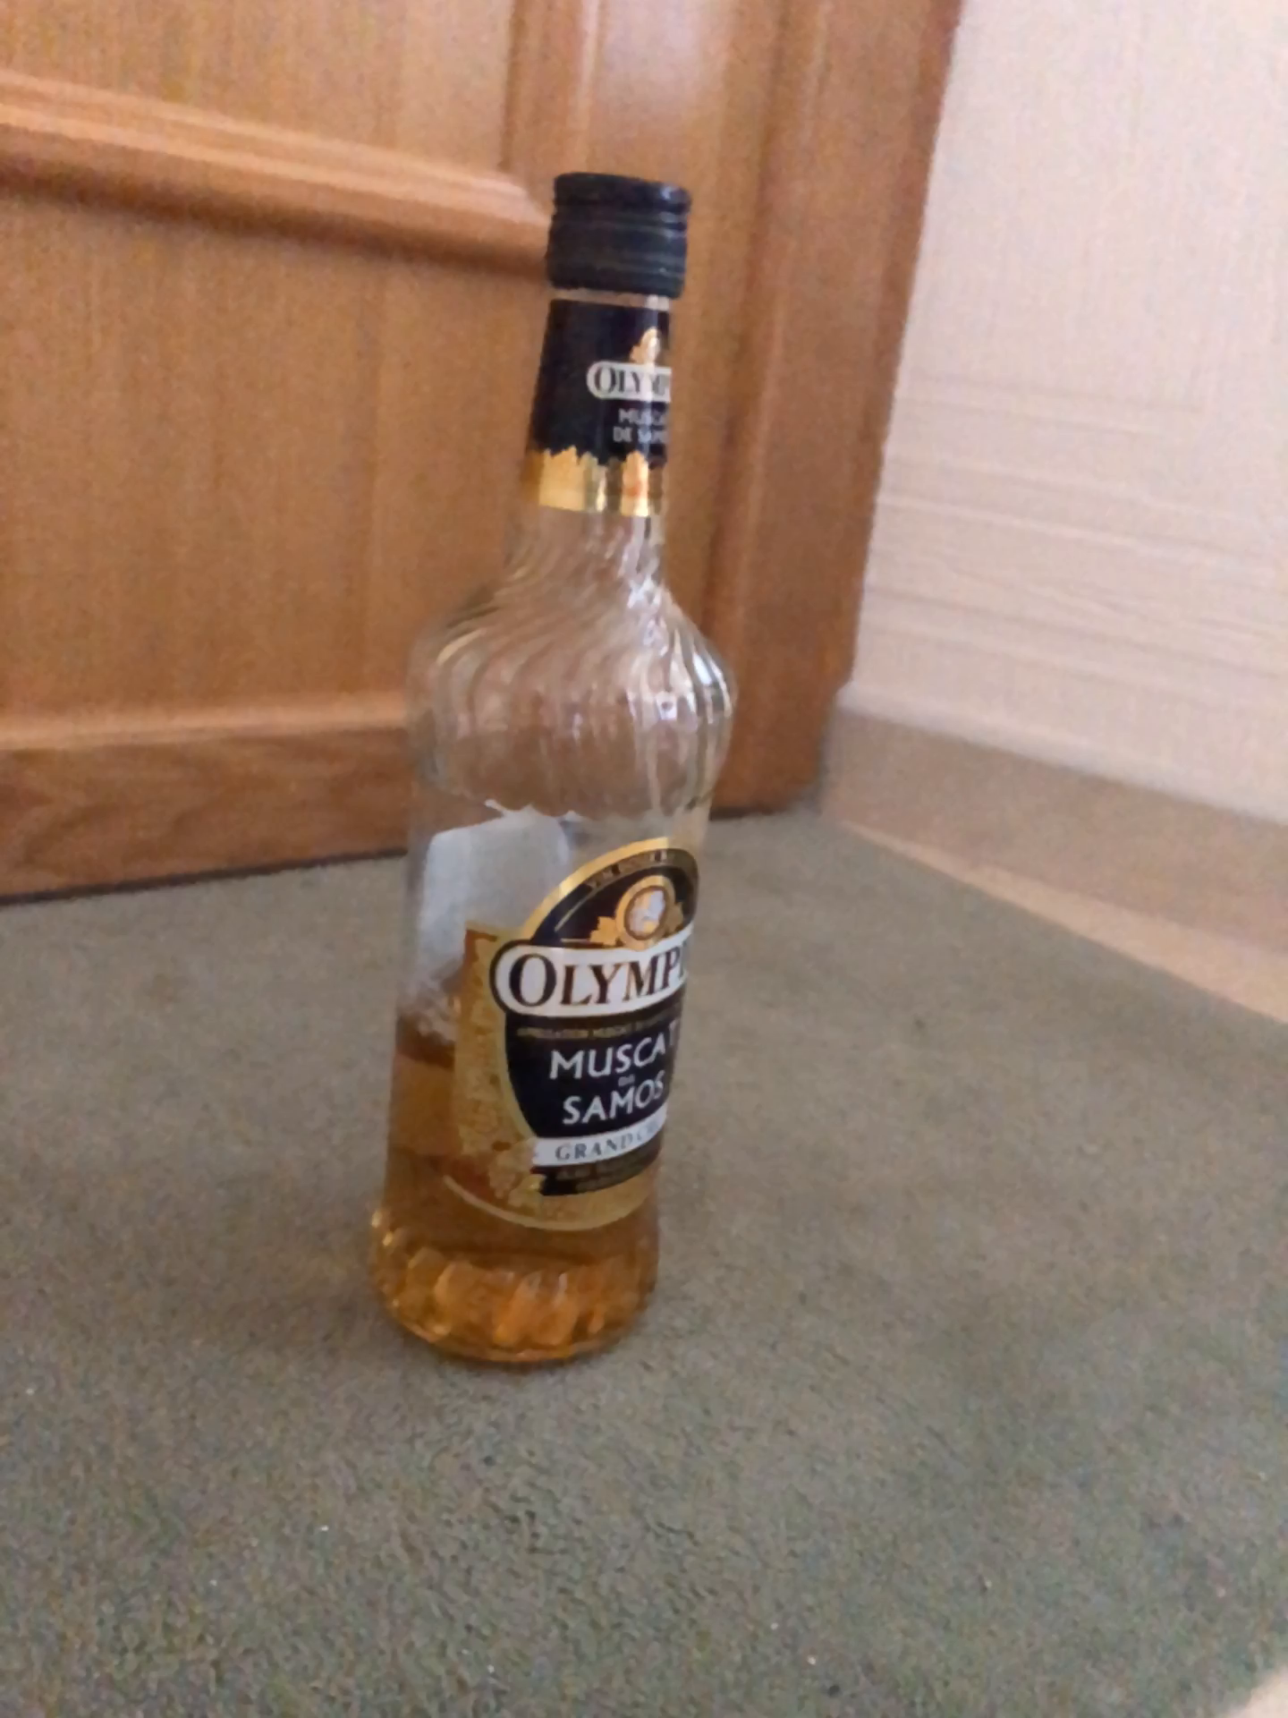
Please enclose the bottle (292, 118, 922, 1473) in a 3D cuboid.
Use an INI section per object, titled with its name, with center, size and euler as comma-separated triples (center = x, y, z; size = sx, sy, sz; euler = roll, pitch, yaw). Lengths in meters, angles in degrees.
[bottle]
center = -0.021, -0.011, 0.351
size = 0.090, 0.289, 0.090
euler = 6, 19, -2
